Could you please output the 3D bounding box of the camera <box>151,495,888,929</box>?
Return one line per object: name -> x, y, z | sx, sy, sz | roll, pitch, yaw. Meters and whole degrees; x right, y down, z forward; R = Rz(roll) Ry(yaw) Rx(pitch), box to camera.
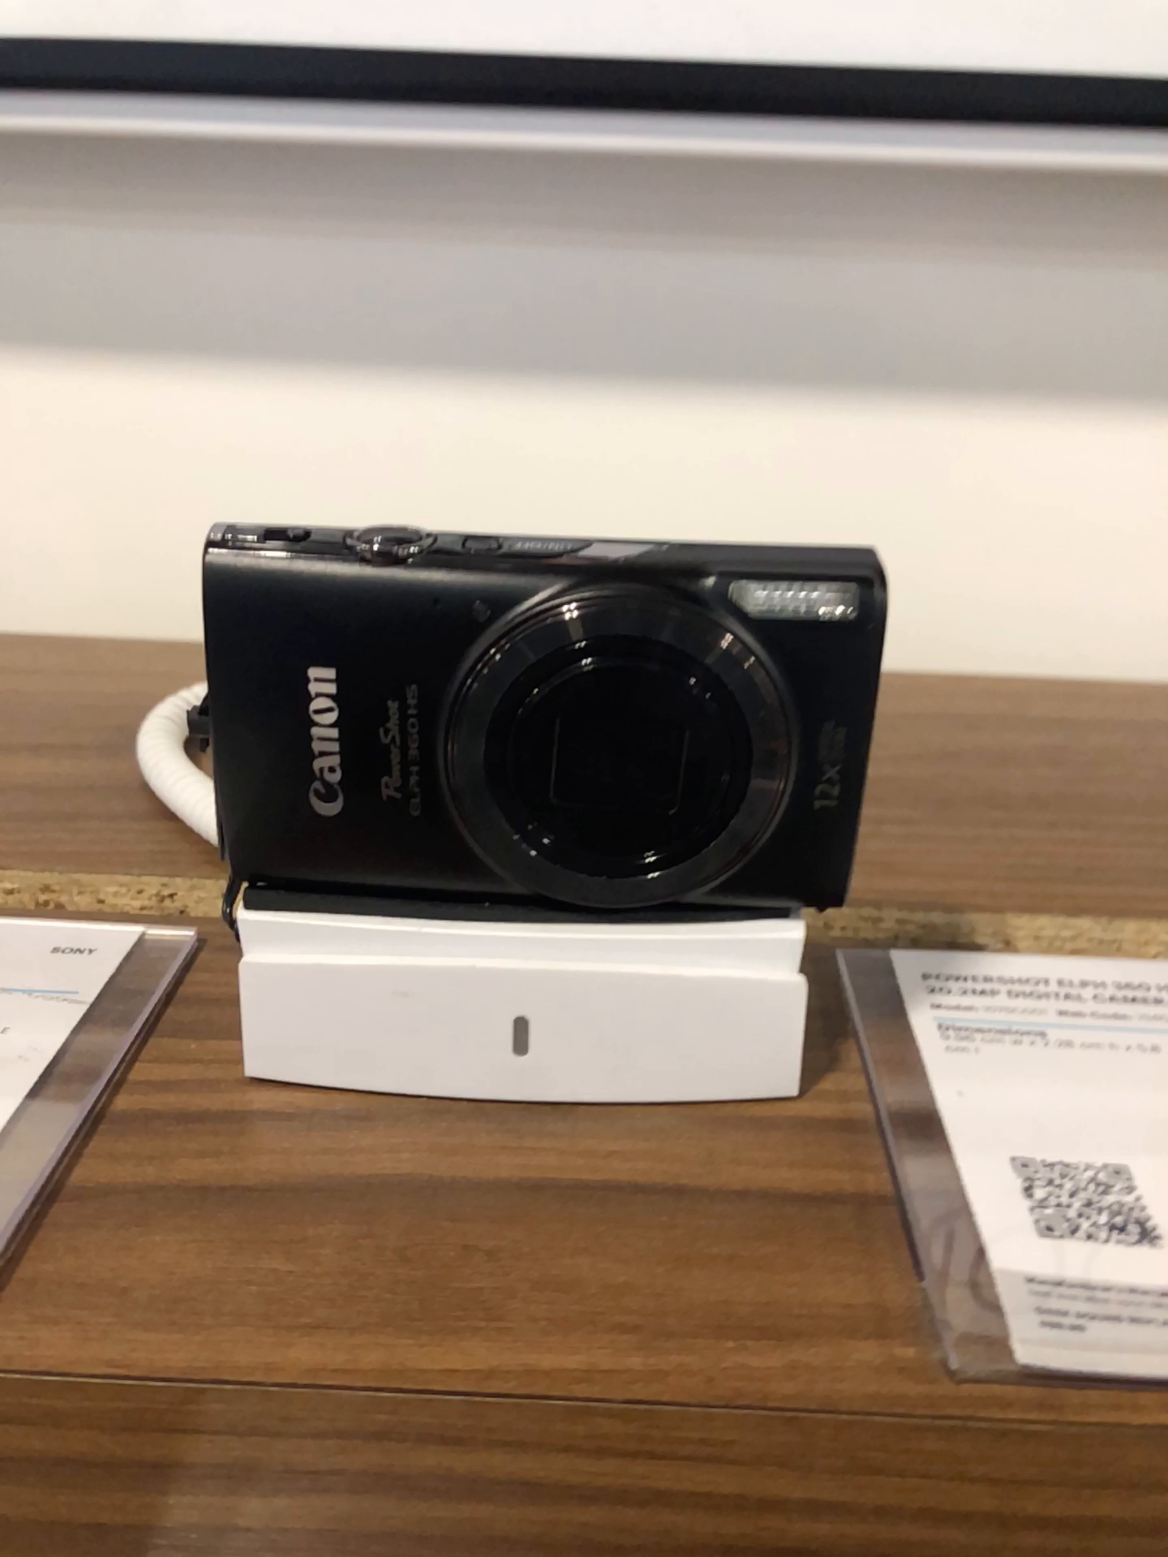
camera -> -0.010, -0.011, 0.201 | 0.100, 0.056, 0.030 | 2, 21, 0
